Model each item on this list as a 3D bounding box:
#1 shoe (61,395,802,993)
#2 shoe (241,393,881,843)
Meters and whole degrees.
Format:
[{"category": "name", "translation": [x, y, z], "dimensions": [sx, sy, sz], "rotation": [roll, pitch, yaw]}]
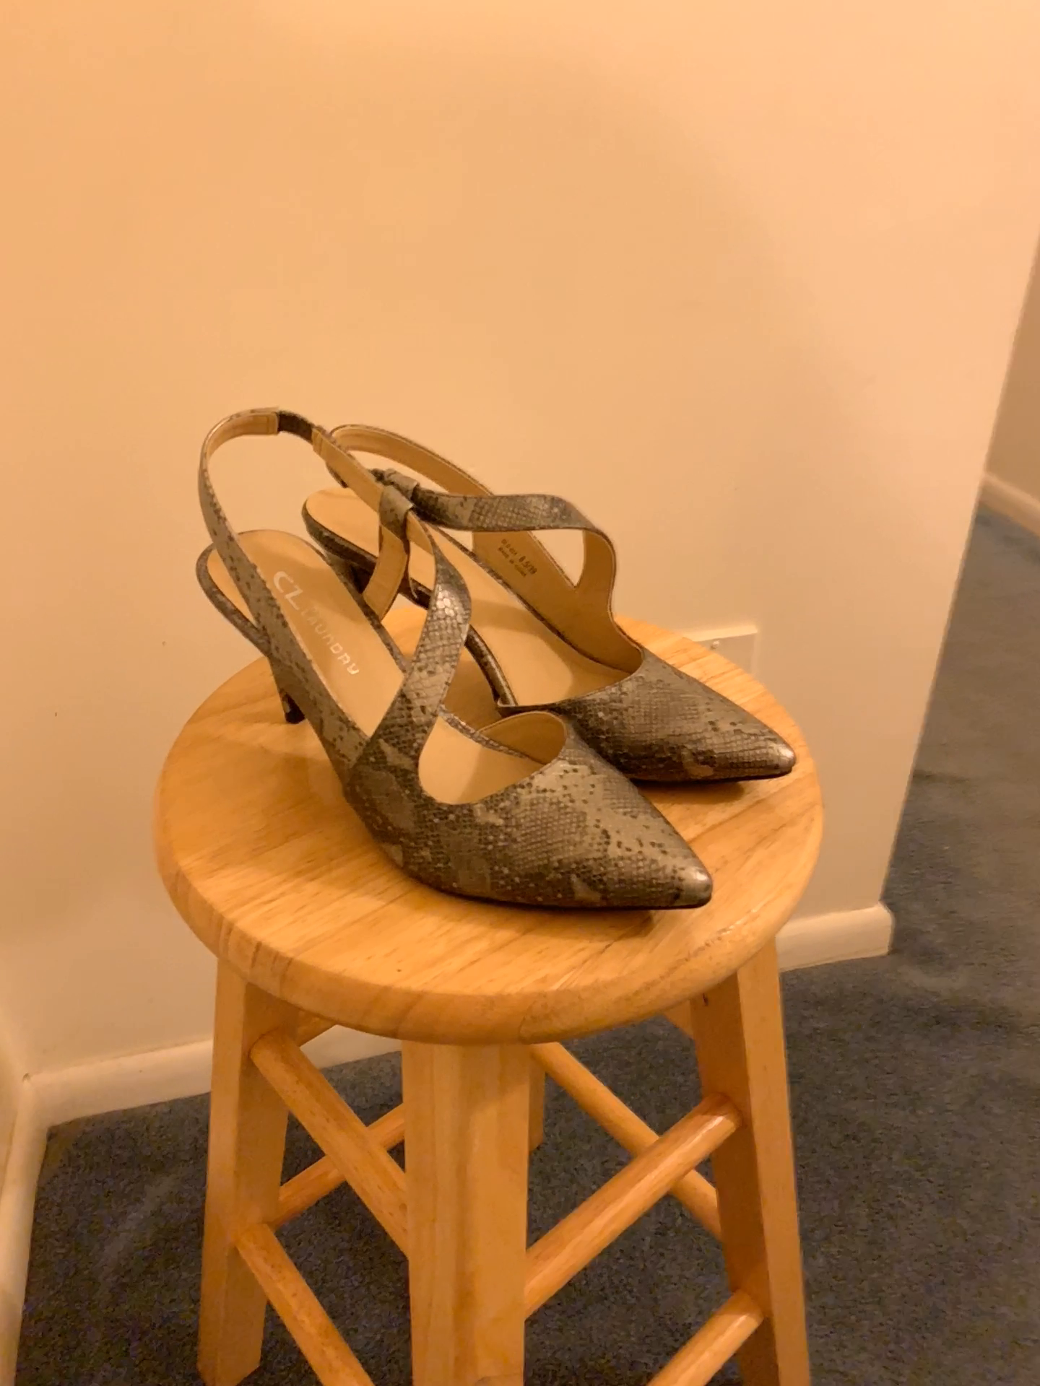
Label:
[{"category": "shoe", "translation": [-0.044, -0.019, 0.421], "dimensions": [0.270, 0.125, 0.100], "rotation": [22, 39, 31]}, {"category": "shoe", "translation": [0.011, -0.047, 0.474], "dimensions": [0.251, 0.106, 0.103], "rotation": [19, 37, 27]}]
